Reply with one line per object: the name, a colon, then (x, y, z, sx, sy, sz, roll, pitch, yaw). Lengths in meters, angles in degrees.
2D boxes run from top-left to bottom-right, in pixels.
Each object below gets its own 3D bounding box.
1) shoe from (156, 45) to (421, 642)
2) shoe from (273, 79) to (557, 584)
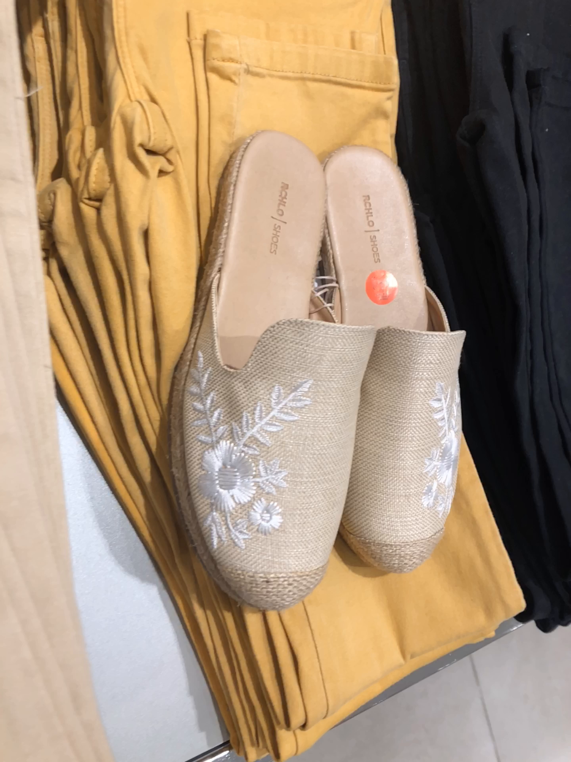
shoe: (0.000, -0.016, 0.296, 0.090, 0.070, 0.240, 7, 76, -26)
shoe: (0.065, -0.026, 0.345, 0.090, 0.070, 0.240, -4, 81, -28)
